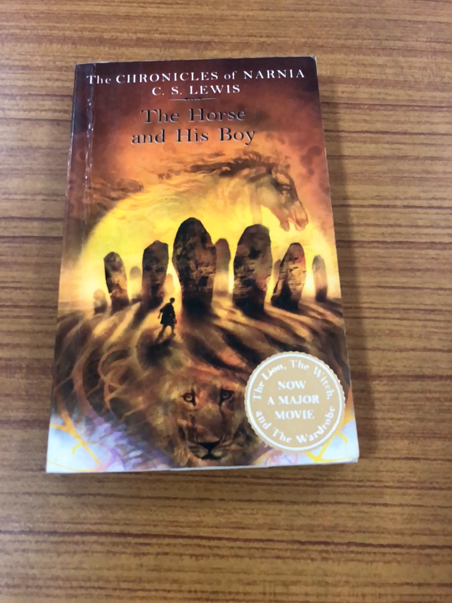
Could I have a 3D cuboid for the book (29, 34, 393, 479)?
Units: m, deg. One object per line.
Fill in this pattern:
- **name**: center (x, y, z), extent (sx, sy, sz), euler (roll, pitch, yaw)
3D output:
- **book**: center (-0.007, -0.027, 0.202), extent (0.120, 0.020, 0.180), euler (-1, 73, -1)
